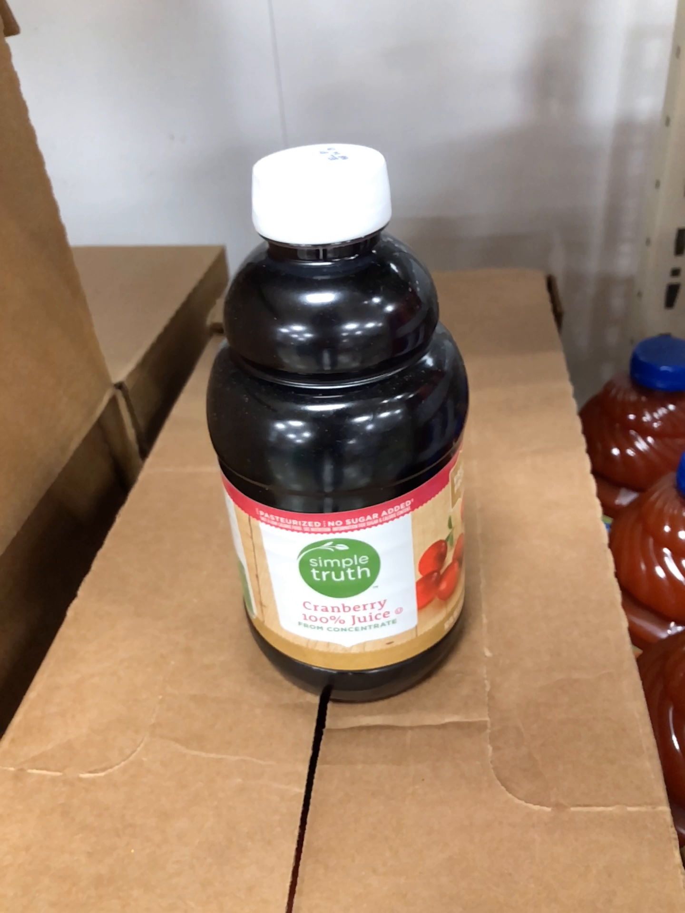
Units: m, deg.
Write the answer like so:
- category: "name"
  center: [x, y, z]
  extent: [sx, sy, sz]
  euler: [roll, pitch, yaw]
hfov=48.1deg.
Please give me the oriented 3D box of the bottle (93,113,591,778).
- category: "bottle"
  center: [0.005, -0.004, 0.287]
  extent: [0.110, 0.199, 0.100]
  euler: [-4, 37, 3]

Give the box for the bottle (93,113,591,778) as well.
- category: "bottle"
  center: [0.005, -0.004, 0.287]
  extent: [0.110, 0.199, 0.100]
  euler: [-4, 37, 3]
